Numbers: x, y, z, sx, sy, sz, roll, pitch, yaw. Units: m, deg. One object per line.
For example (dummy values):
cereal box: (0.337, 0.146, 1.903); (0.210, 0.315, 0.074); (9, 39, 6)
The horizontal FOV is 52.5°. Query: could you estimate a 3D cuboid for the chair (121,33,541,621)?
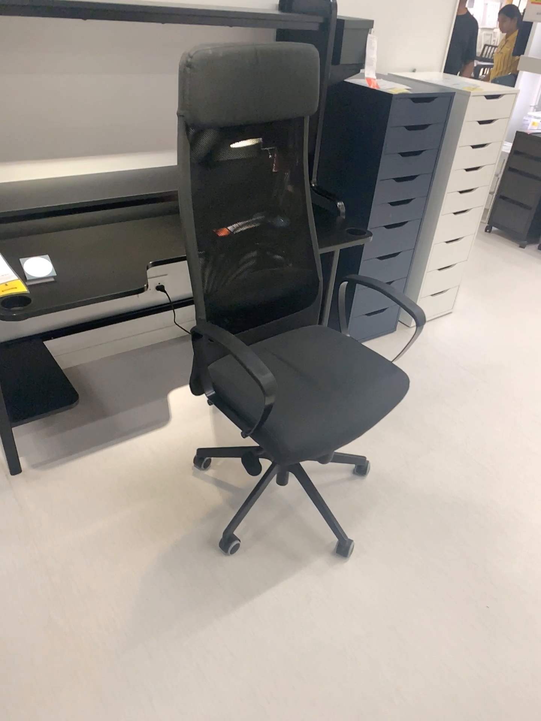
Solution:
chair: (0.103, -0.112, 1.475); (0.641, 1.244, 0.712); (-21, 42, -35)
